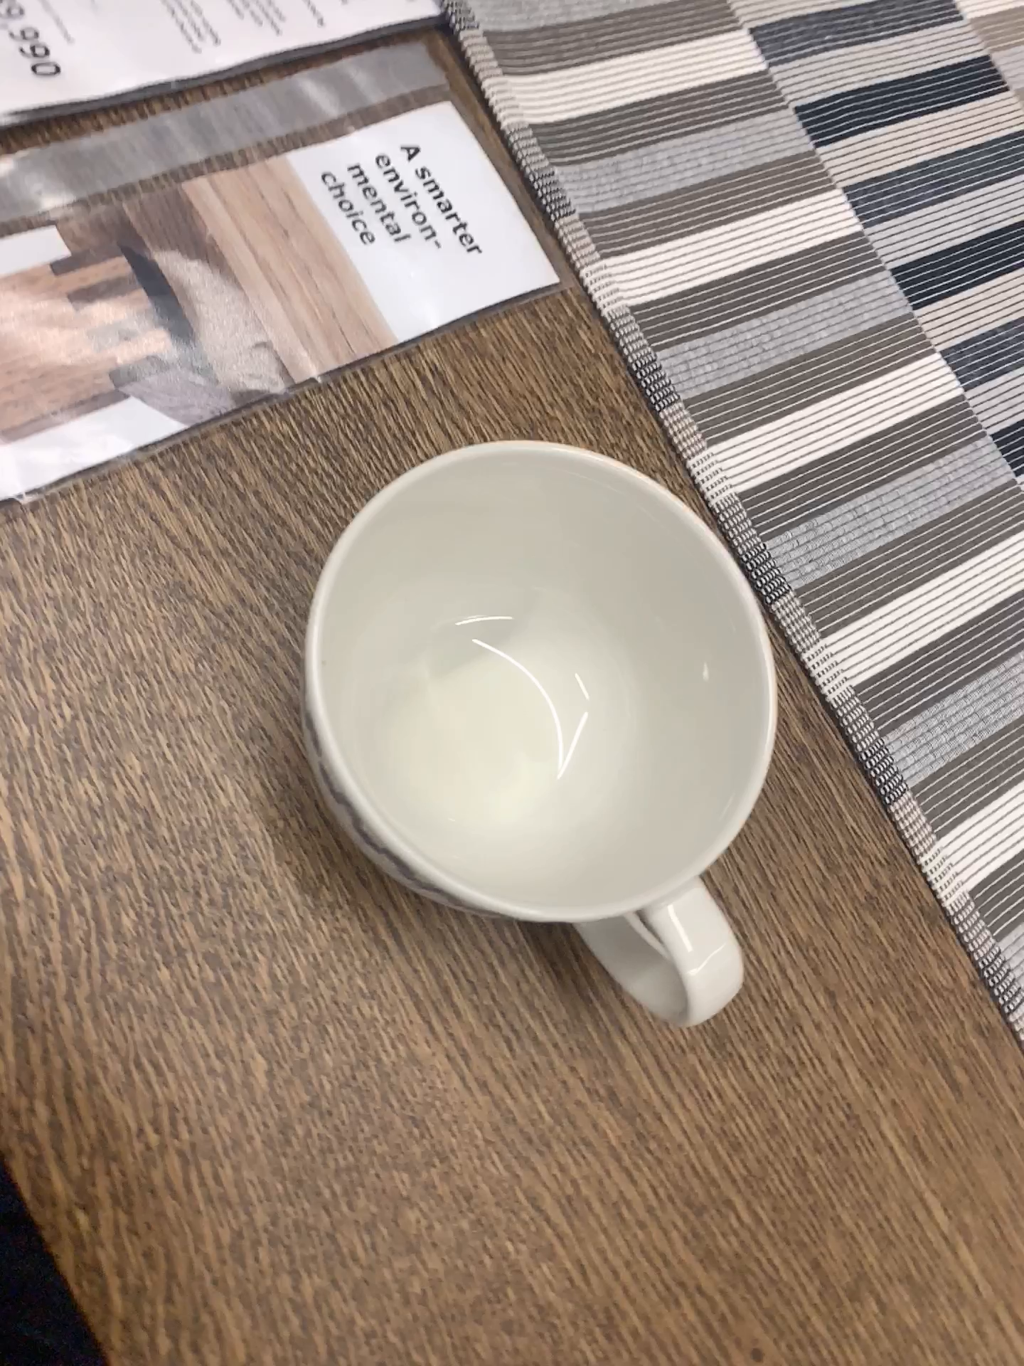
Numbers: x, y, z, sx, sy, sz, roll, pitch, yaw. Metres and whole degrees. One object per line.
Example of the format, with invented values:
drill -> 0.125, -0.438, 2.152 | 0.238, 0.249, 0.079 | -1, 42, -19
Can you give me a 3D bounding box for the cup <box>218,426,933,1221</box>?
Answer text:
cup -> 0.008, 0.028, 0.246 | 0.100, 0.070, 0.130 | -26, 84, -22
